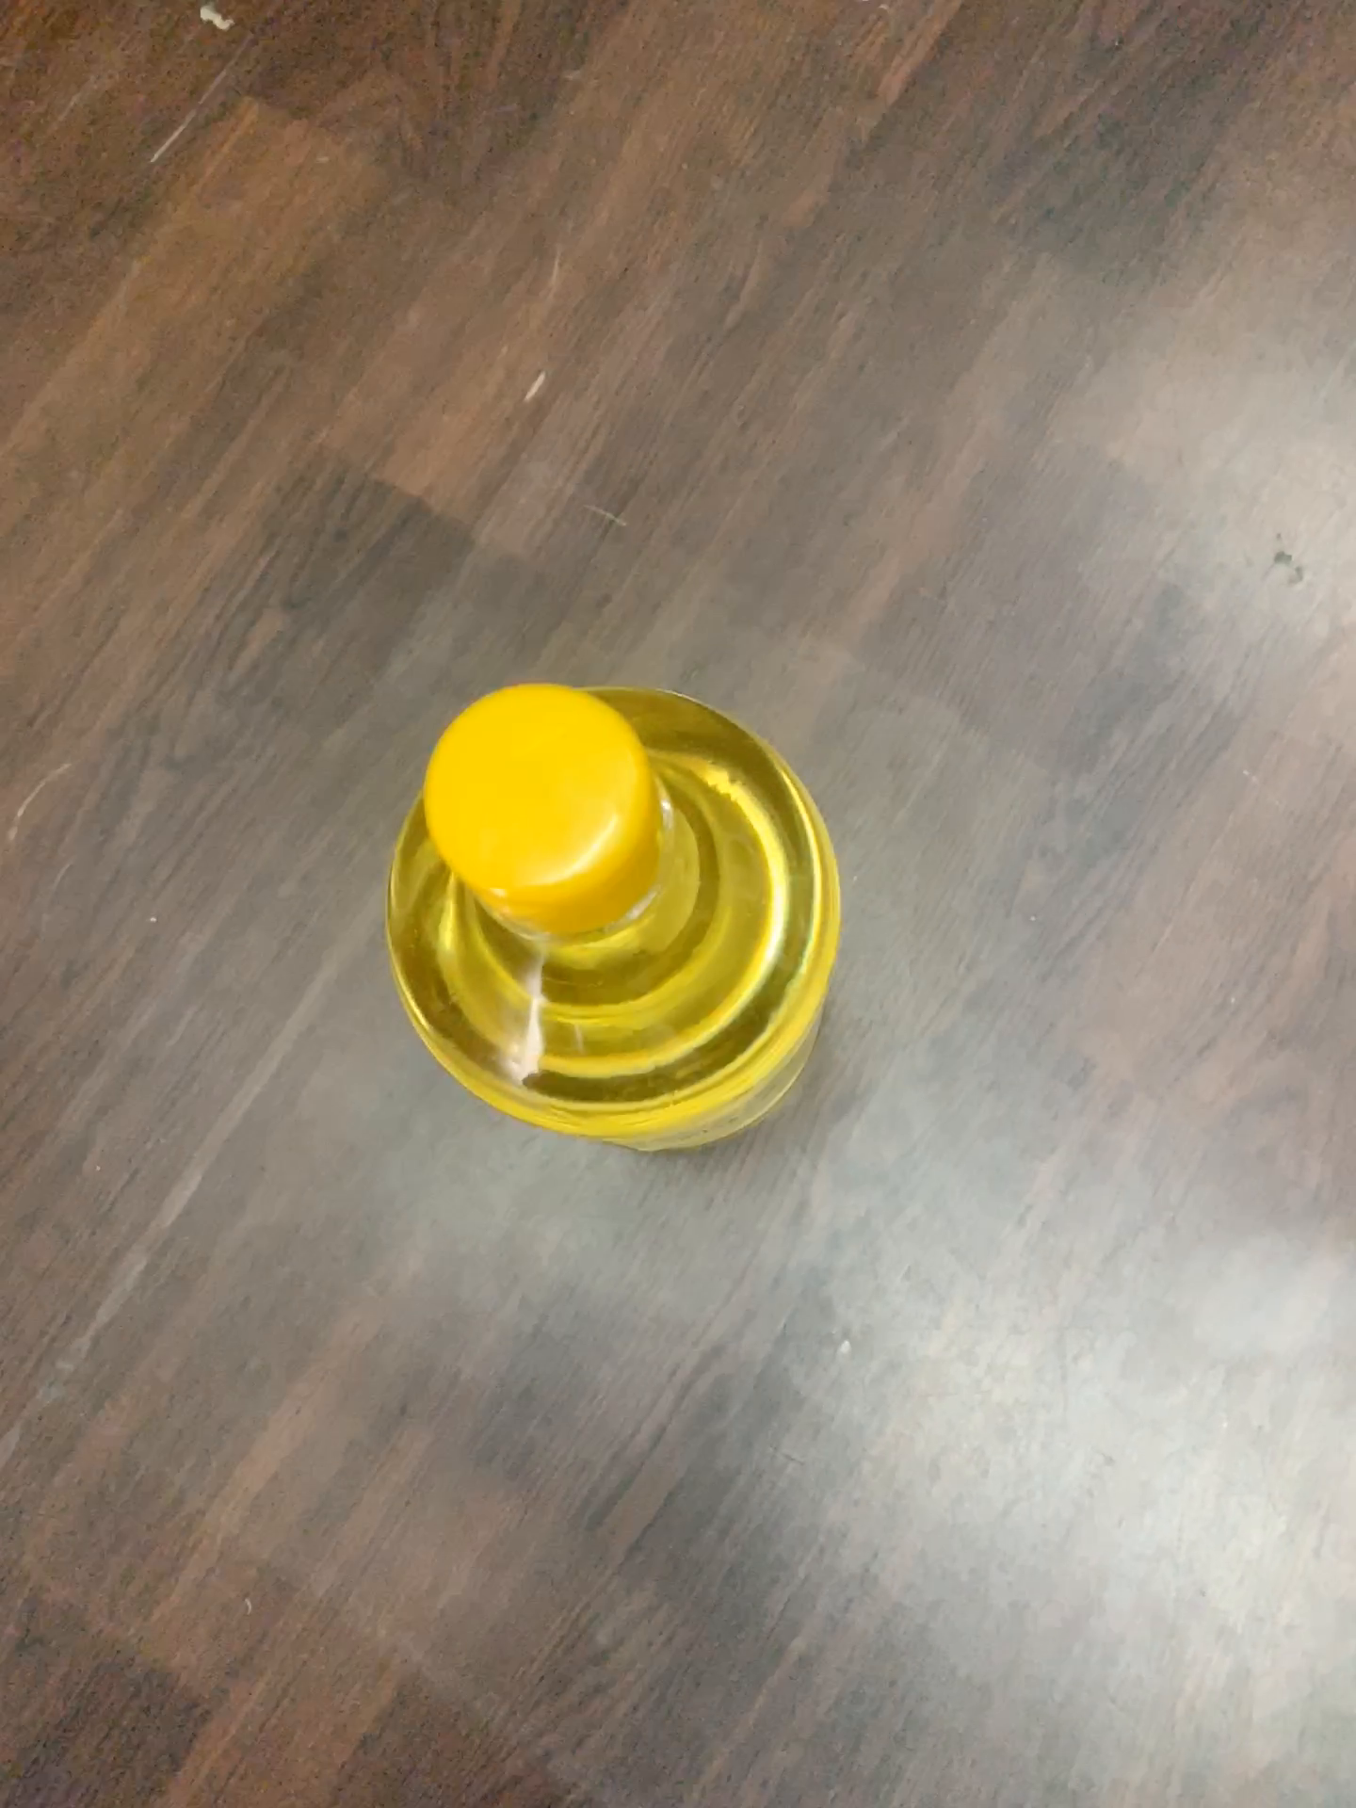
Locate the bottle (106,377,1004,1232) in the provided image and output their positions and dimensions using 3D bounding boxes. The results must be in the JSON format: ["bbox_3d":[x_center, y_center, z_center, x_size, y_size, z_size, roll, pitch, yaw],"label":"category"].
[{"bbox_3d":[-0.006,0.005,0.274,0.090,0.210,0.090,-1,78,5],"label":"bottle"}]
